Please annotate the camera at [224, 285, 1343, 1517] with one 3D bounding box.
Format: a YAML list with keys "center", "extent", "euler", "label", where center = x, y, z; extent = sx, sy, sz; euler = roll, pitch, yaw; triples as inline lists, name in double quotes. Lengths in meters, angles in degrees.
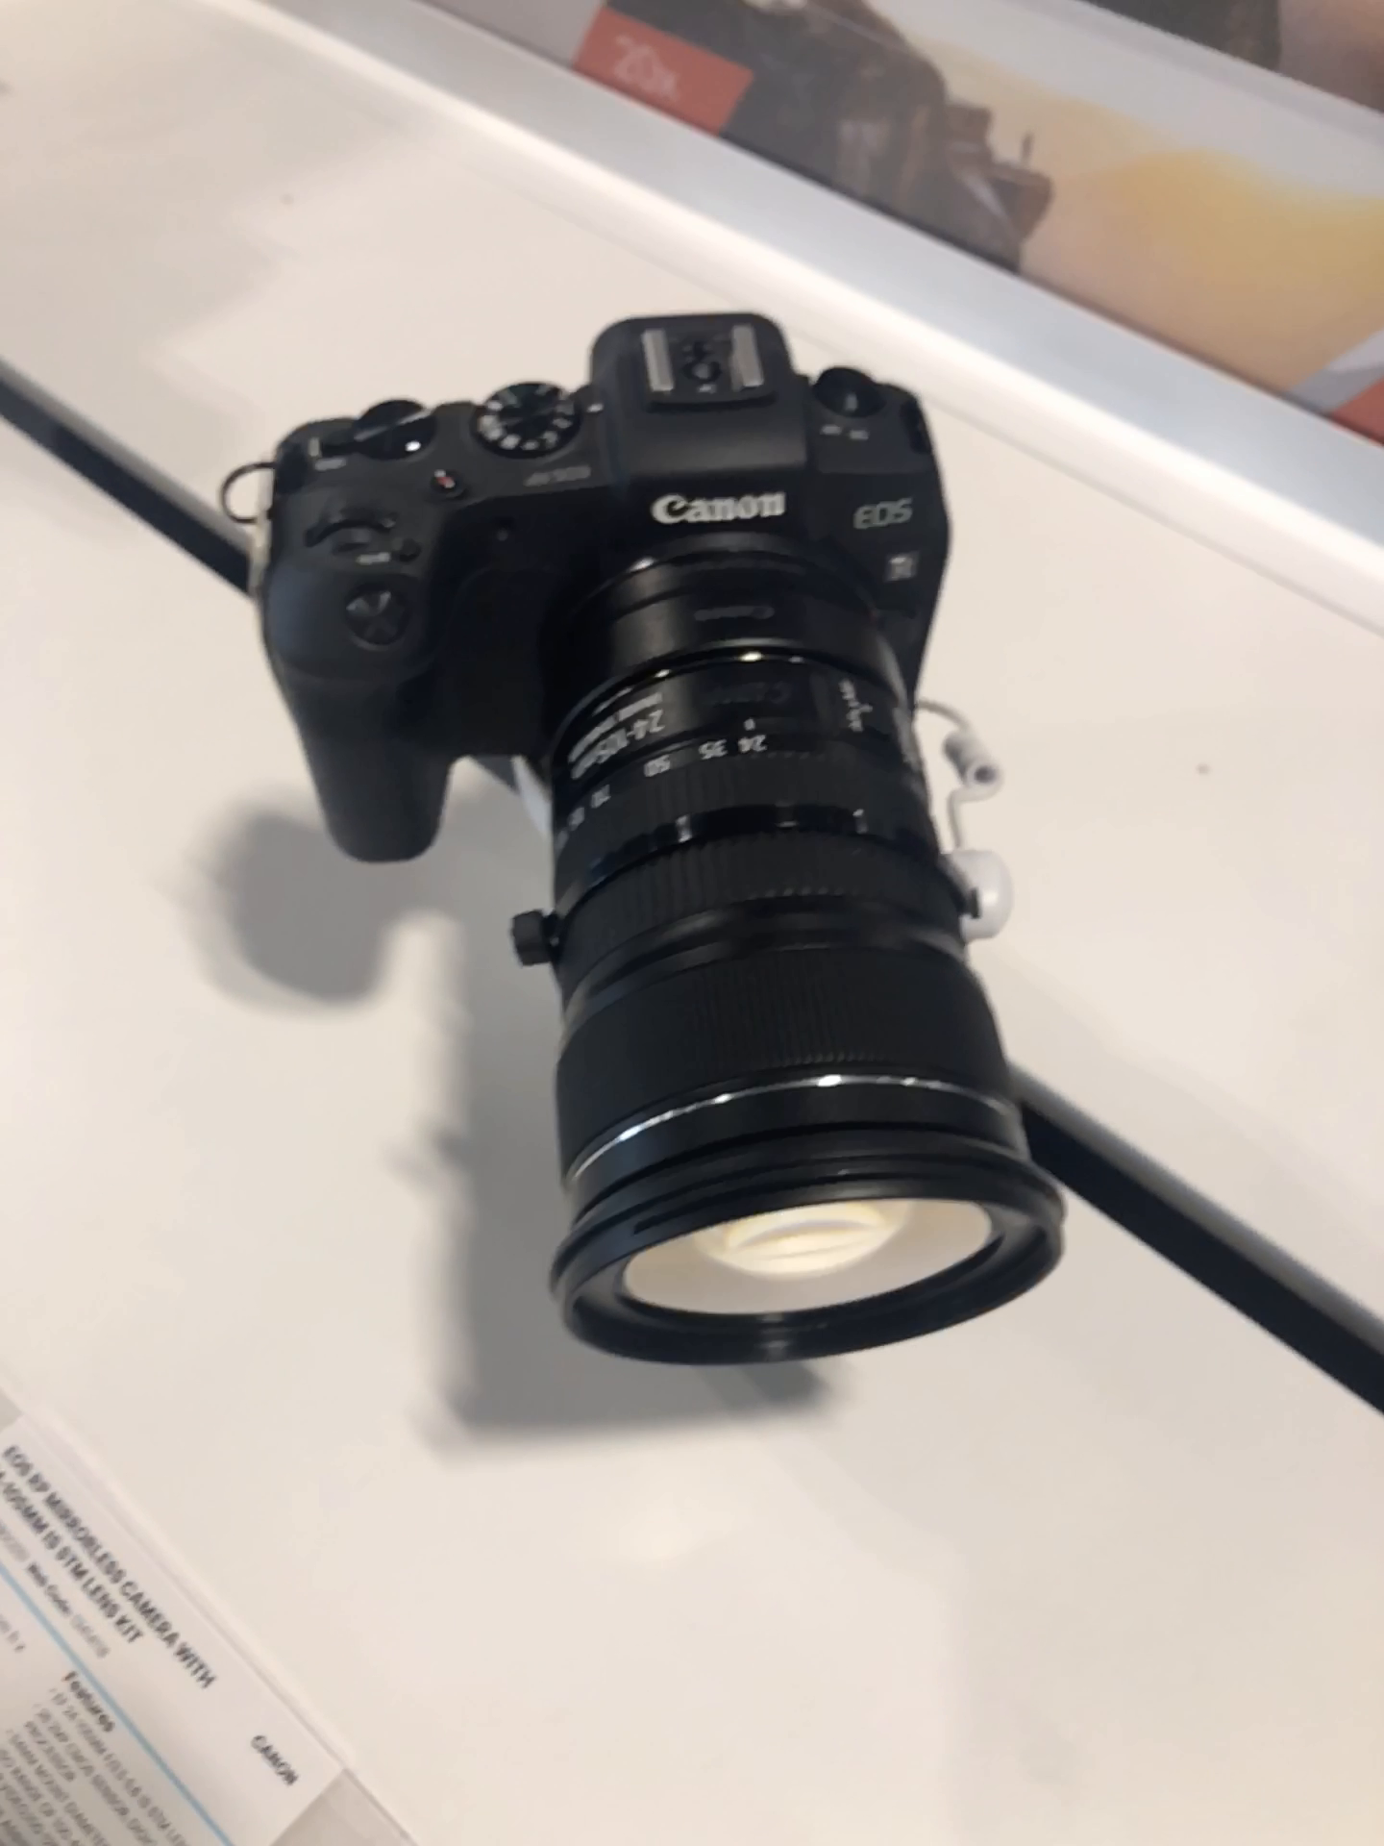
- center: [-0.002, -0.014, 0.275]
  extent: [0.136, 0.090, 0.191]
  euler: [-6, 55, -6]
  label: "camera"
